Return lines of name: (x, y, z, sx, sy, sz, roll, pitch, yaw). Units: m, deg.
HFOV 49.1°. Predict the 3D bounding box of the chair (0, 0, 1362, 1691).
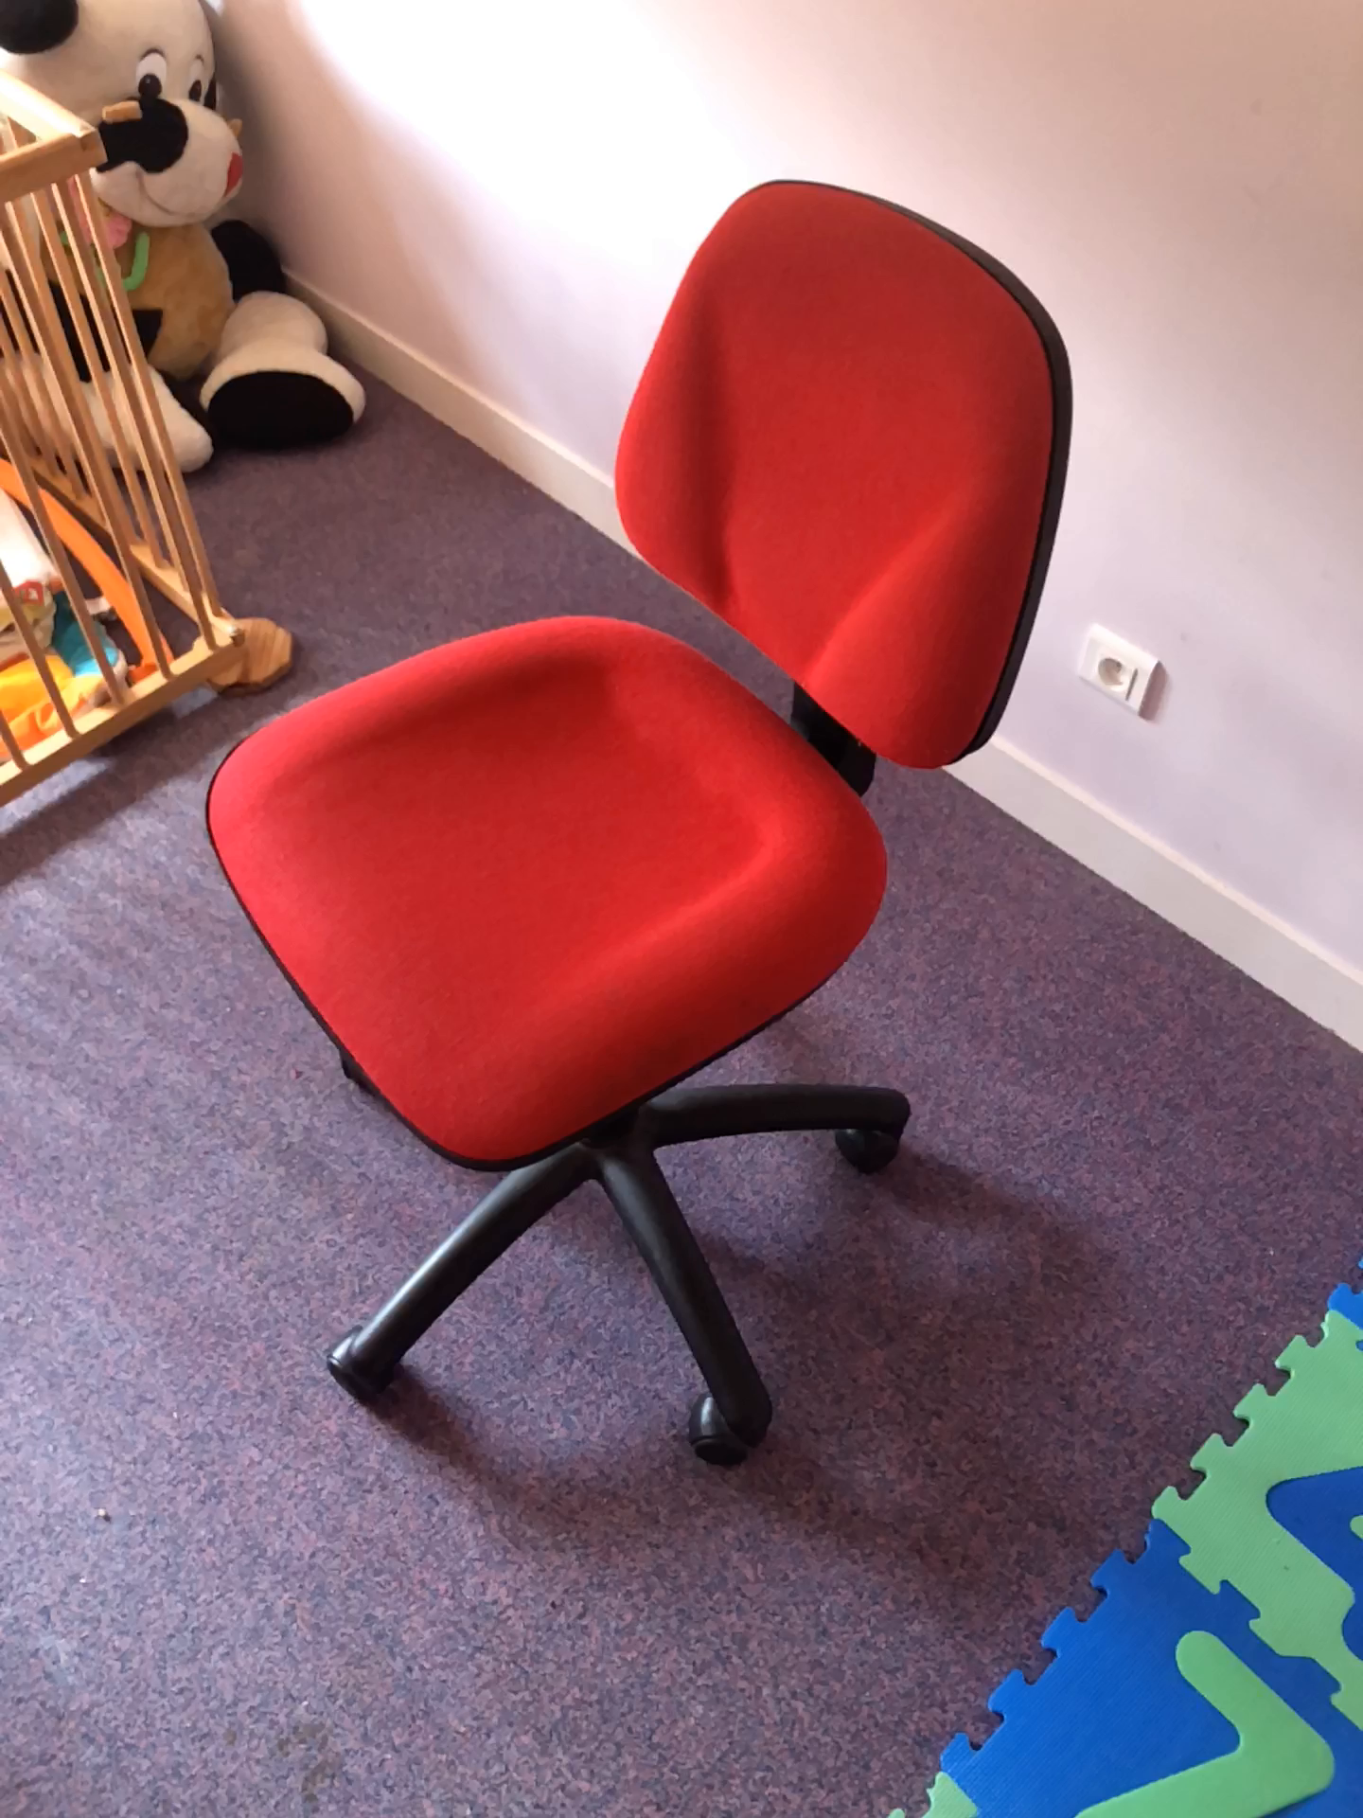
chair: (-0.074, -0.021, 1.124, 0.672, 0.895, 0.641, -29, 56, -22)
